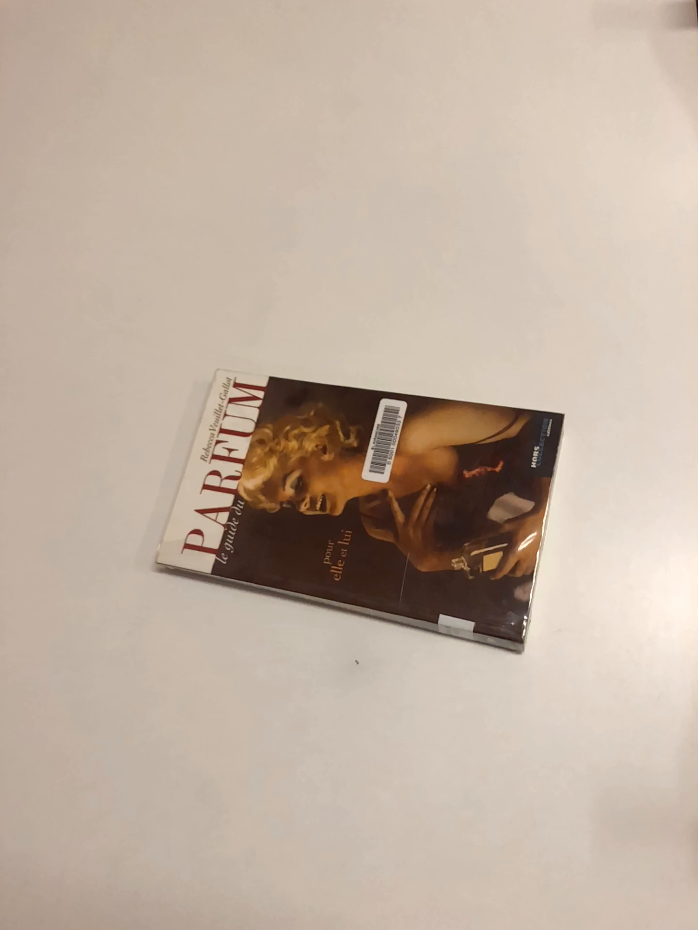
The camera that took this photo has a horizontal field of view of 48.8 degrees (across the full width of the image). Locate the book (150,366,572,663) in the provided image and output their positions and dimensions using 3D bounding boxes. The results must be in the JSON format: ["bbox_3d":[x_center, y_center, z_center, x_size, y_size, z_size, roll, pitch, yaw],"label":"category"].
[{"bbox_3d":[0.006,0.020,0.425,0.210,0.020,0.133,8,73,17],"label":"book"}]
